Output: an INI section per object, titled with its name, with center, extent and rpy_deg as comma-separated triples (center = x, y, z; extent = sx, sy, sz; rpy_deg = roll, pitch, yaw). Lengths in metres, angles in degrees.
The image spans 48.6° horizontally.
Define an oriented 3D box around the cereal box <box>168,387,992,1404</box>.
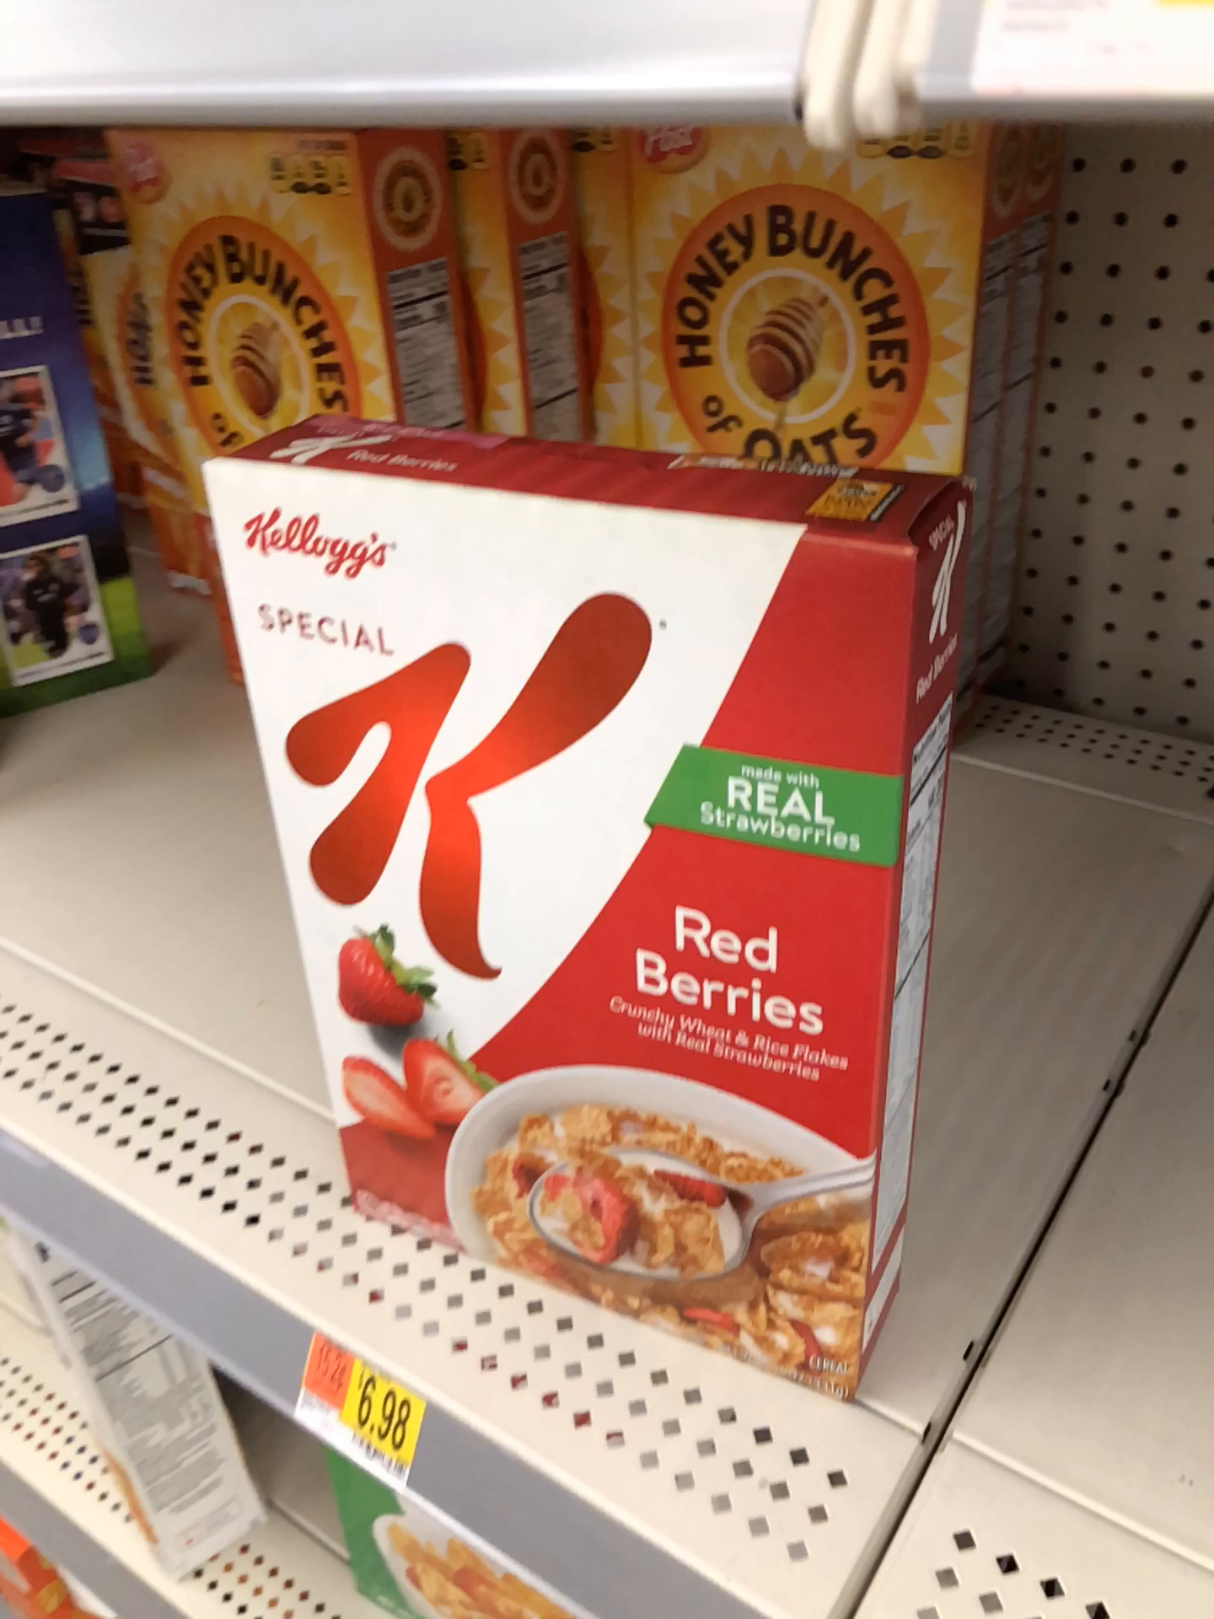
[cereal box]
center = -0.002, 0.032, 0.402
extent = 0.200, 0.289, 0.050
rpy_deg = 12, 37, 25
